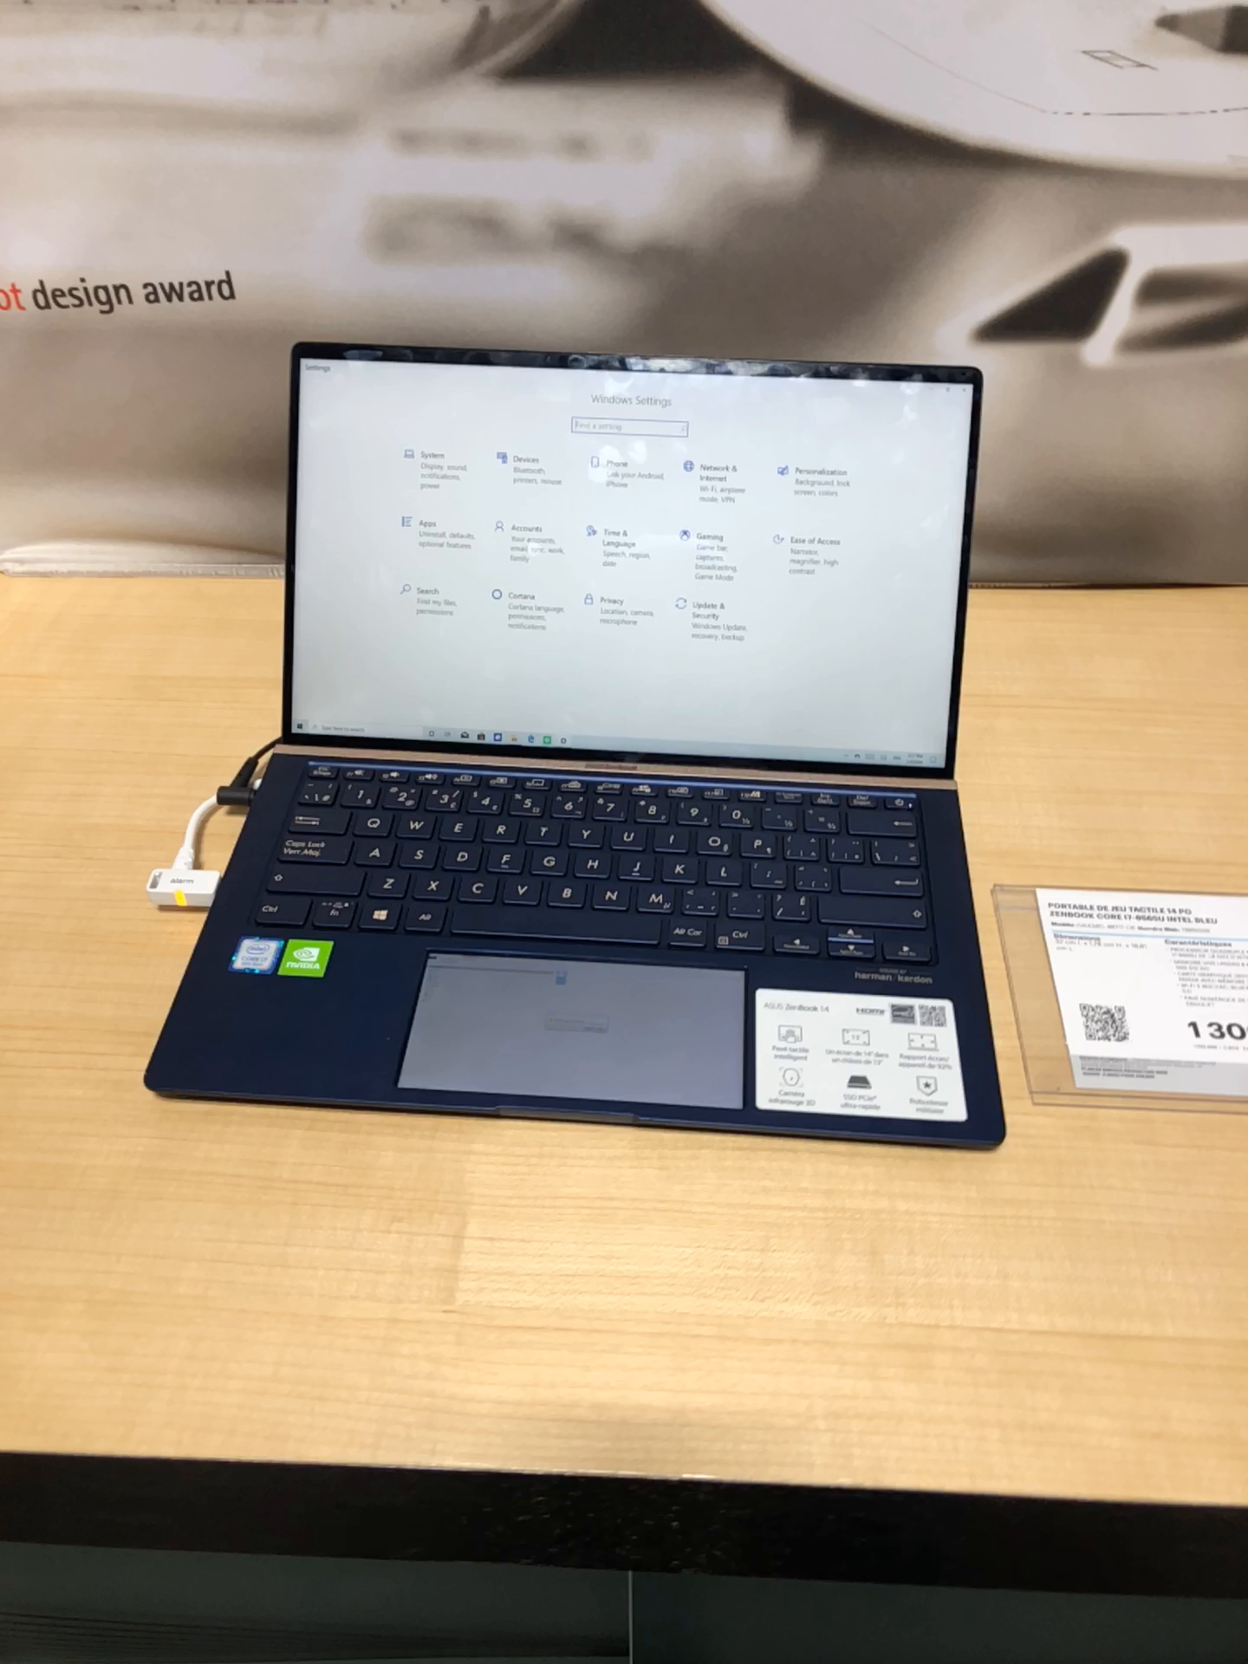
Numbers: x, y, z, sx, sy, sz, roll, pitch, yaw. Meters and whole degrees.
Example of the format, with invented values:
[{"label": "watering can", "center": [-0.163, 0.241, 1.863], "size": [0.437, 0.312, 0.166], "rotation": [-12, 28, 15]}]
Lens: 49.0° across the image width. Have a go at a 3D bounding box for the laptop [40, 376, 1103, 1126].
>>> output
[{"label": "laptop", "center": [-0.004, -0.056, 0.602], "size": [0.332, 0.159, 0.322], "rotation": [3, 41, 3]}]
